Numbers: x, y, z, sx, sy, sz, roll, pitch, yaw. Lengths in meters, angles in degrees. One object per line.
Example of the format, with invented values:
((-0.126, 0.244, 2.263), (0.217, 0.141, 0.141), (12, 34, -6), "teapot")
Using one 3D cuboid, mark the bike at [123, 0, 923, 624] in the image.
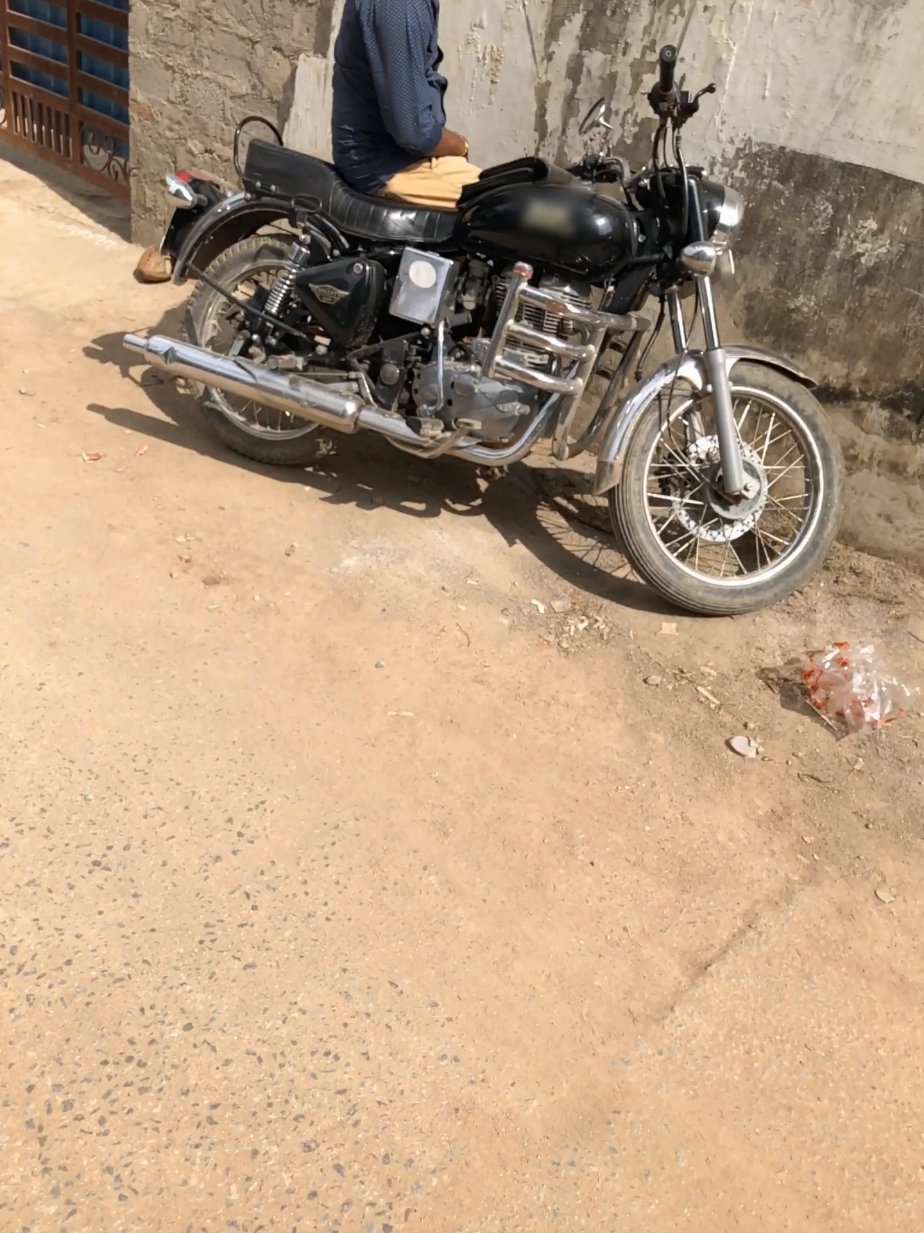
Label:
((0.205, -0.975, 2.822), (1.929, 1.316, 0.887), (18, 34, 14), "bike")
